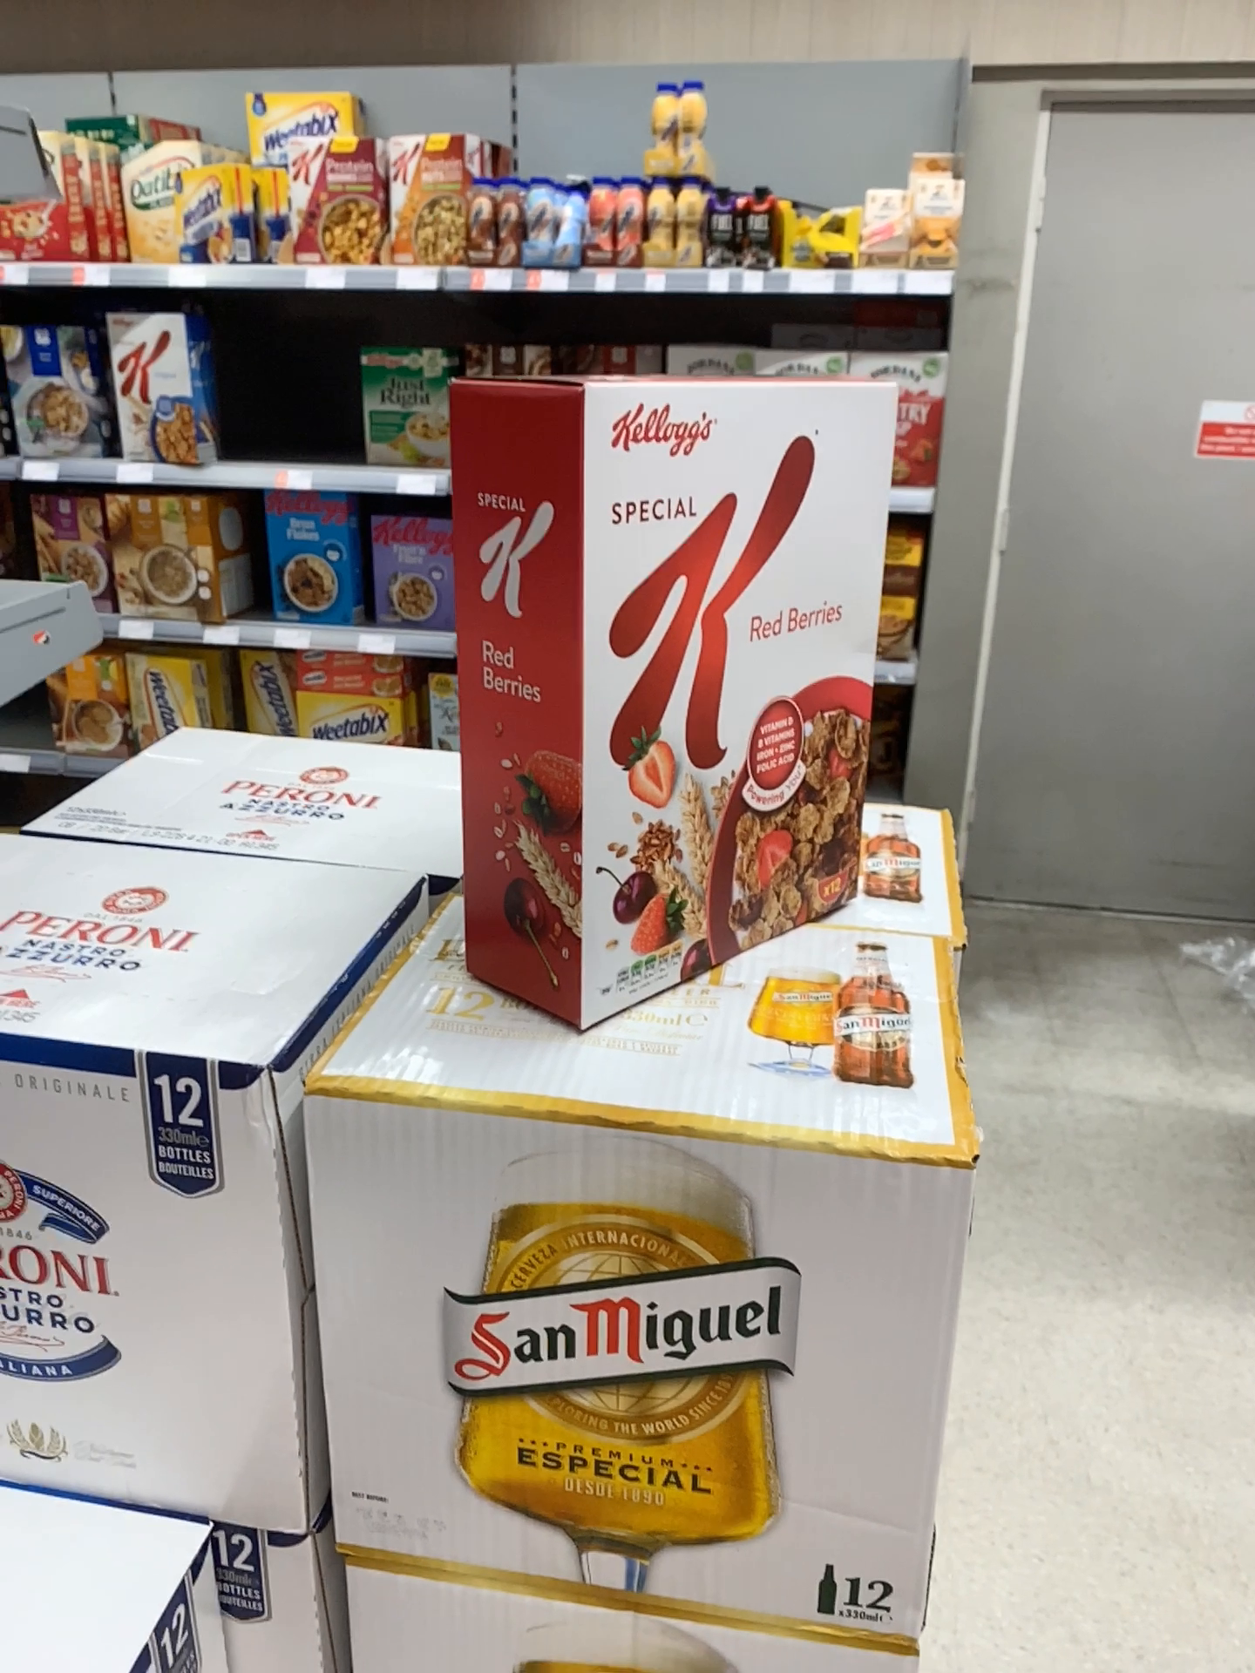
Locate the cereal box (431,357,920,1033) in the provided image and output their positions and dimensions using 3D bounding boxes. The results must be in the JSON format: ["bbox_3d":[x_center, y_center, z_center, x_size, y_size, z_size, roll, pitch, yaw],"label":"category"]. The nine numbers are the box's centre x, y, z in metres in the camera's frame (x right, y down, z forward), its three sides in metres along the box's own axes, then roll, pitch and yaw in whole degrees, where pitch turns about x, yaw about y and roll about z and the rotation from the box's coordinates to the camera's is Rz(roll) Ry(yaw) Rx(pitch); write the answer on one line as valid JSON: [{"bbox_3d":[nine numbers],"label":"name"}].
[{"bbox_3d":[0.027,-0.072,0.537,0.201,0.238,0.070,-19,27,-41],"label":"cereal box"}]
